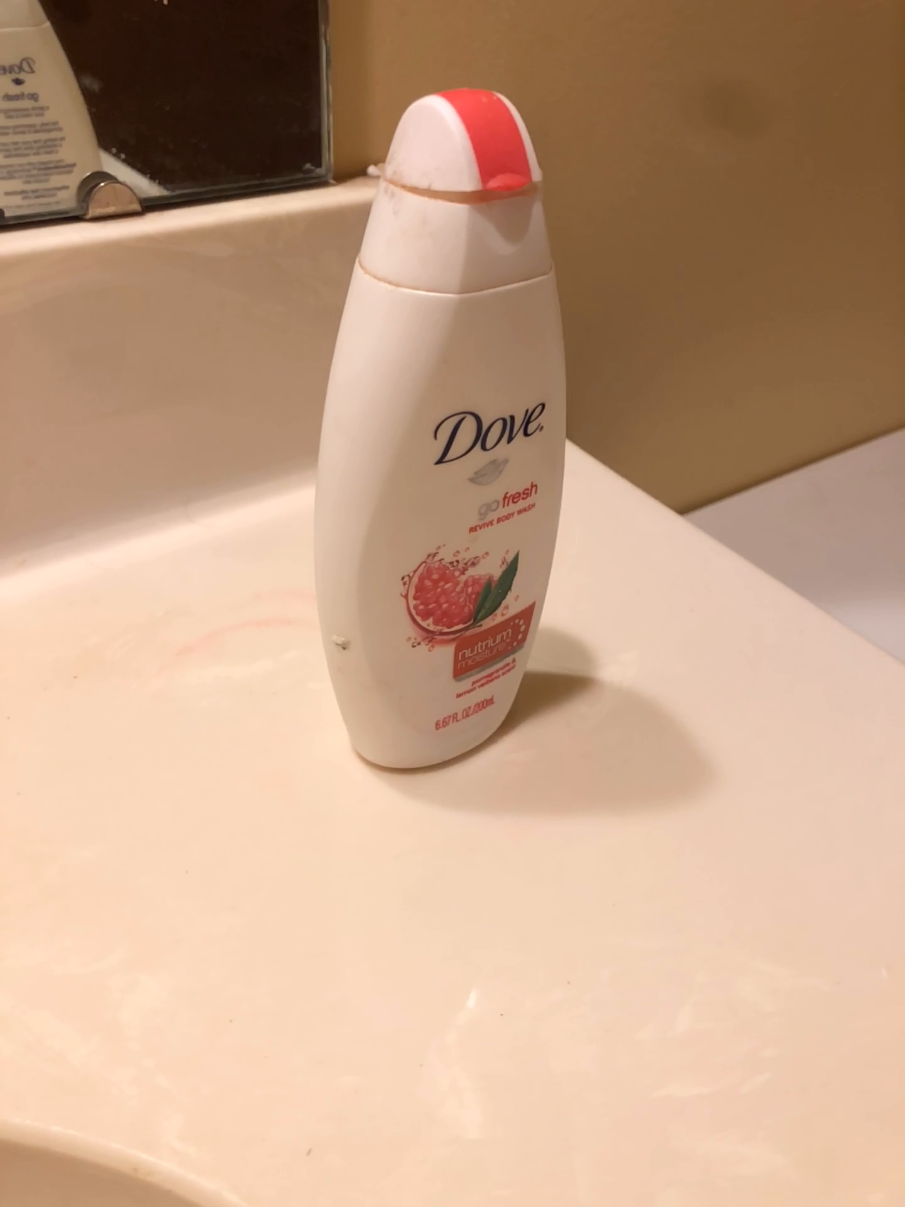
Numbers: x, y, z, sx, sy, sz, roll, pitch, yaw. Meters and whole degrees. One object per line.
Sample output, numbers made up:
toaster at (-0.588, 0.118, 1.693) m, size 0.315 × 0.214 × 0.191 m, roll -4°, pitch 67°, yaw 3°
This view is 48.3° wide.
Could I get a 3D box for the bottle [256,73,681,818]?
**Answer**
bottle at (0.000, -0.031, 0.238) m, size 0.070 × 0.160 × 0.040 m, roll -21°, pitch 43°, yaw -29°
